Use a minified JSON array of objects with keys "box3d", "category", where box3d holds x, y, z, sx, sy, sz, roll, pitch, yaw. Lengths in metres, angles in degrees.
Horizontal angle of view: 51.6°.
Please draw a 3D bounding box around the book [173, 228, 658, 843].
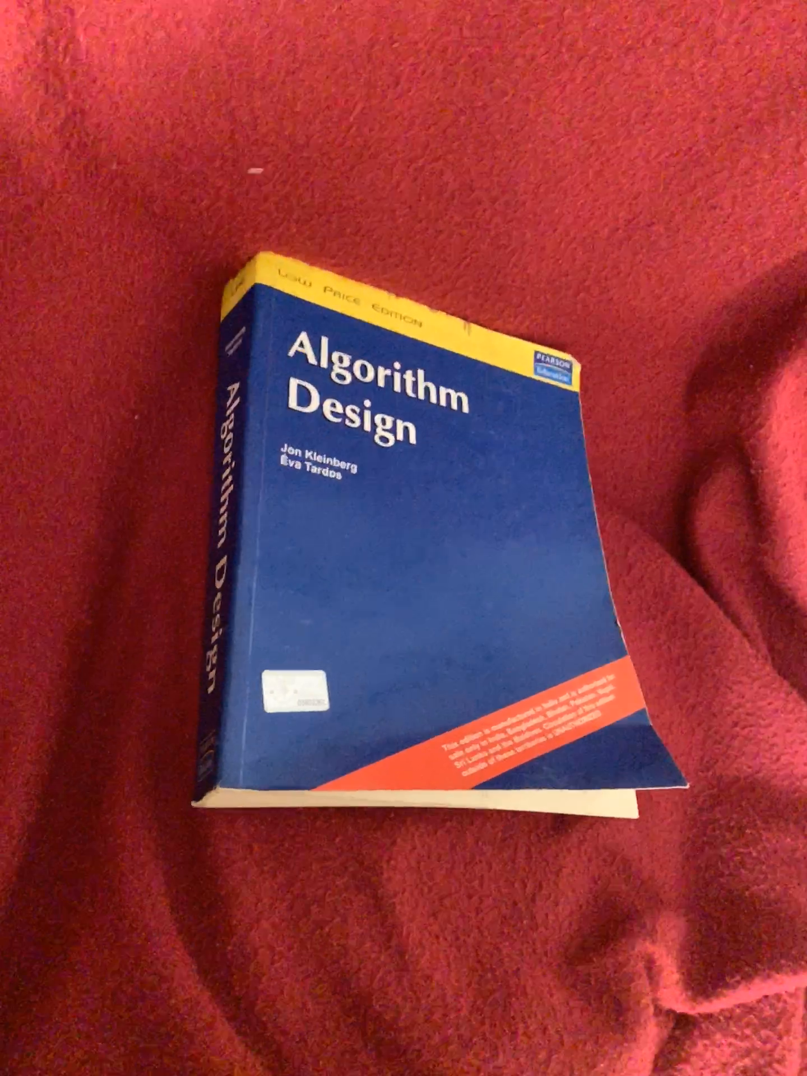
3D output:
[{"box3d":[0.007,0.005,0.386,0.191,0.060,0.251,12,61,-29],"category":"book"}]
